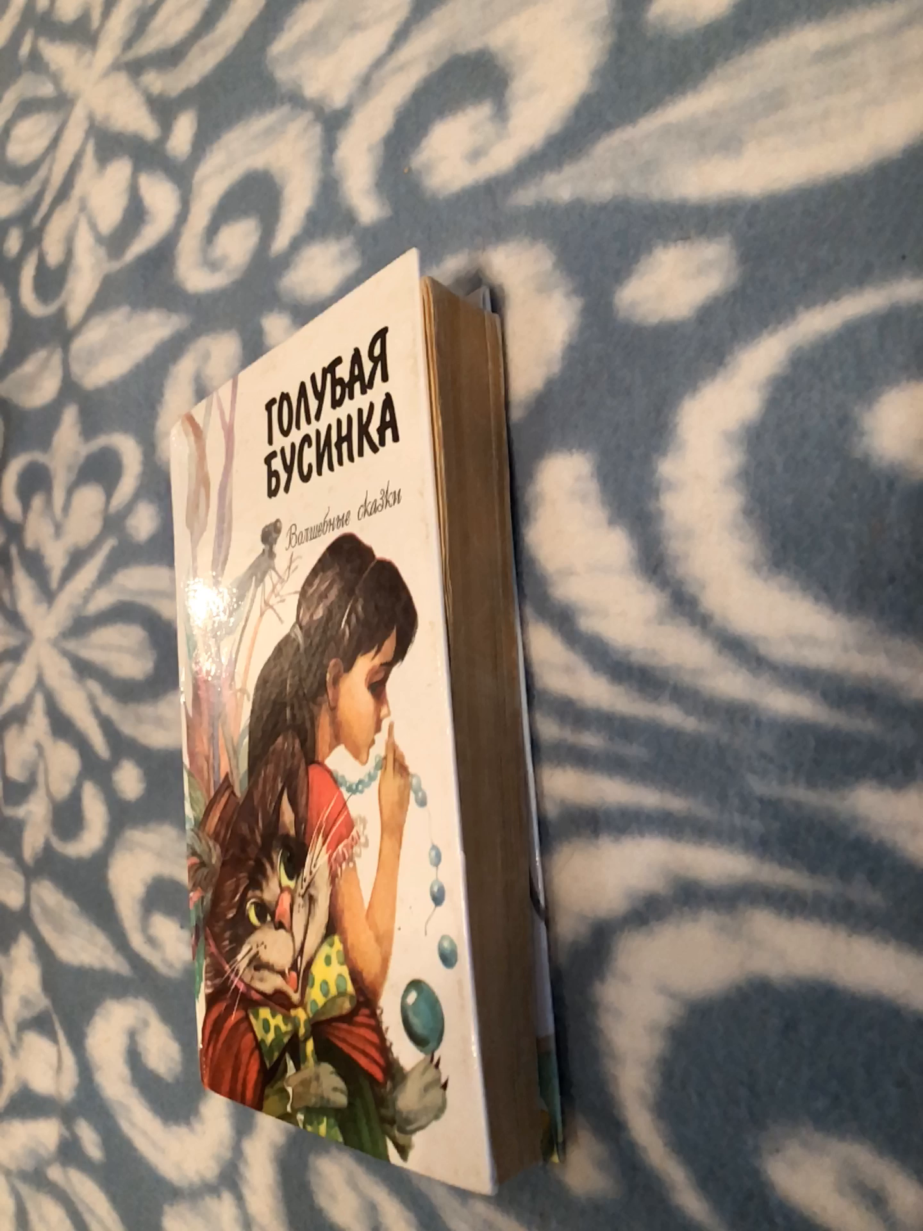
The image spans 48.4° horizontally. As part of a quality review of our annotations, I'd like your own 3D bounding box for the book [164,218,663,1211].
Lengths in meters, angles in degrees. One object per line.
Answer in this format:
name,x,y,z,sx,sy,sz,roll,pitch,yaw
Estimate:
book,-0.027,0.026,0.280,0.146,0.040,0.206,-16,76,48
